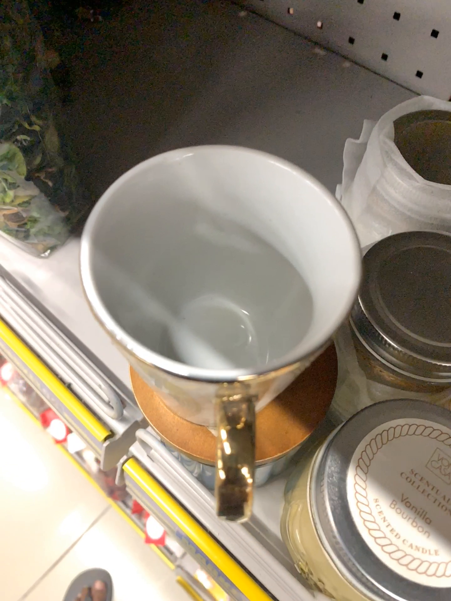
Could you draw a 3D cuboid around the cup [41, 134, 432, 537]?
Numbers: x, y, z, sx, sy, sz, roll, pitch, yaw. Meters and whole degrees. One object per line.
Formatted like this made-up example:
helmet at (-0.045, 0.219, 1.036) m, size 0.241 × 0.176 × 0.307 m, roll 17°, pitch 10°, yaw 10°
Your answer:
cup at (-0.001, 0.015, 0.141) m, size 0.070 × 0.080 × 0.090 m, roll -4°, pitch 59°, yaw -2°
